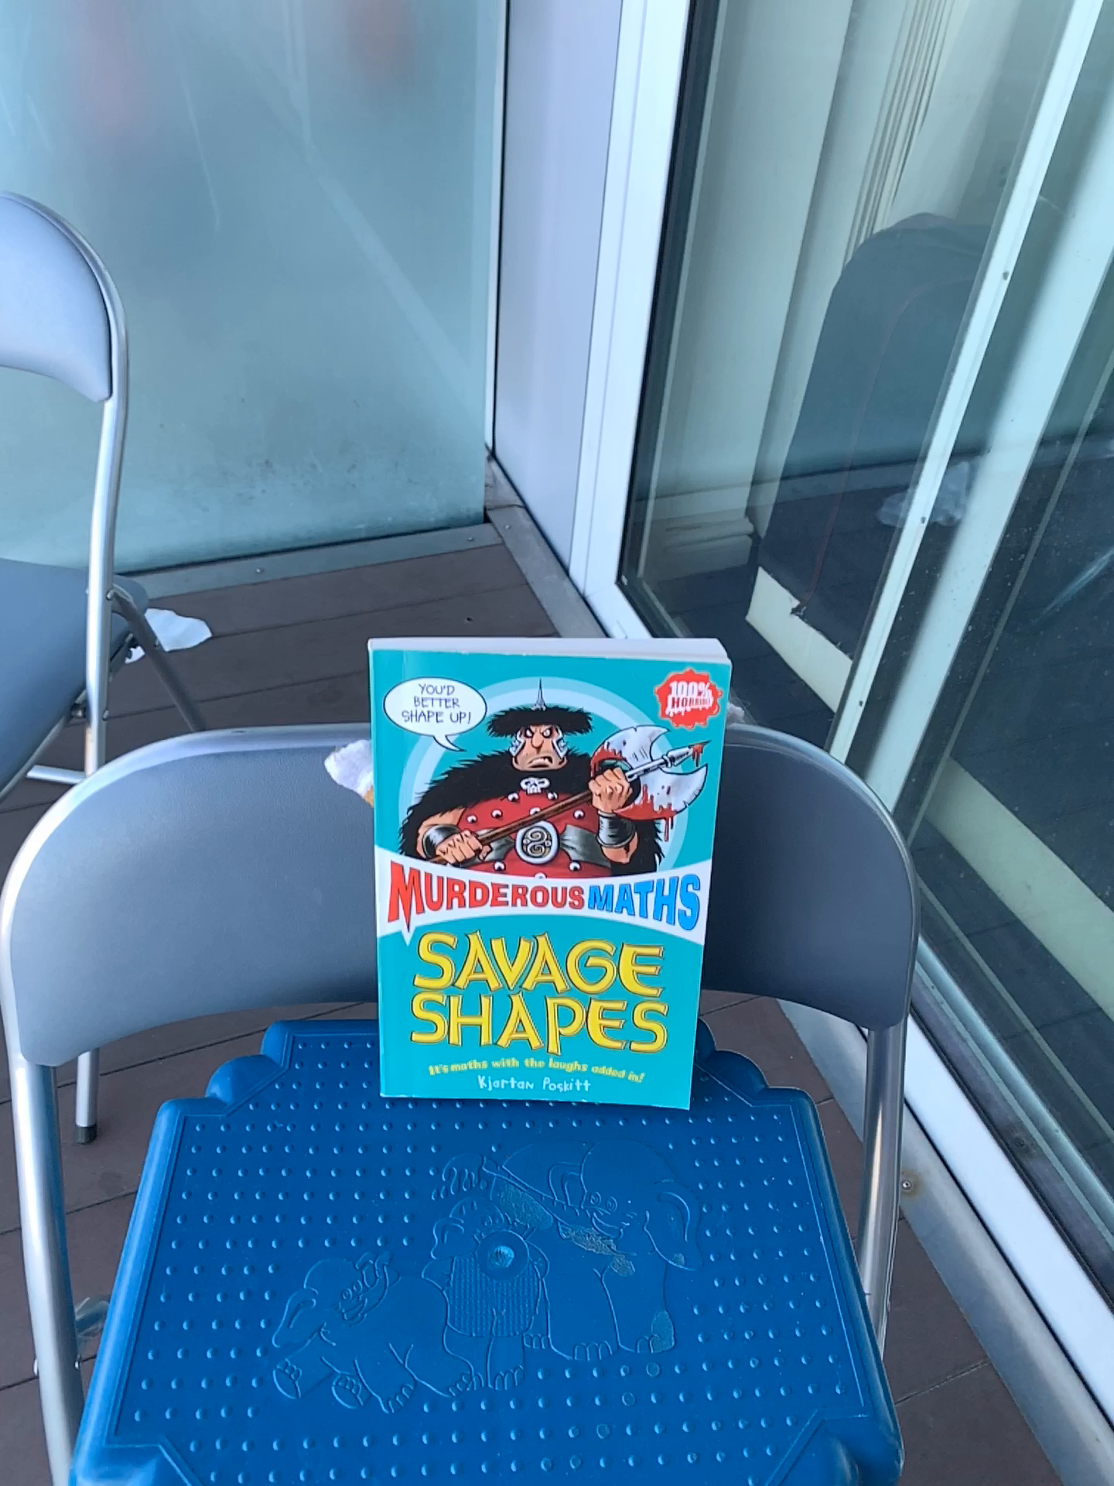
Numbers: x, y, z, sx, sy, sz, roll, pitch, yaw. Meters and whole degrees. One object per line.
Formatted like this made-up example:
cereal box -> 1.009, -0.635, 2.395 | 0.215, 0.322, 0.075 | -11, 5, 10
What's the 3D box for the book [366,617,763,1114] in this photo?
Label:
book -> -0.003, 0.052, 0.432 | 0.133, 0.193, 0.029 | 2, 23, -3
